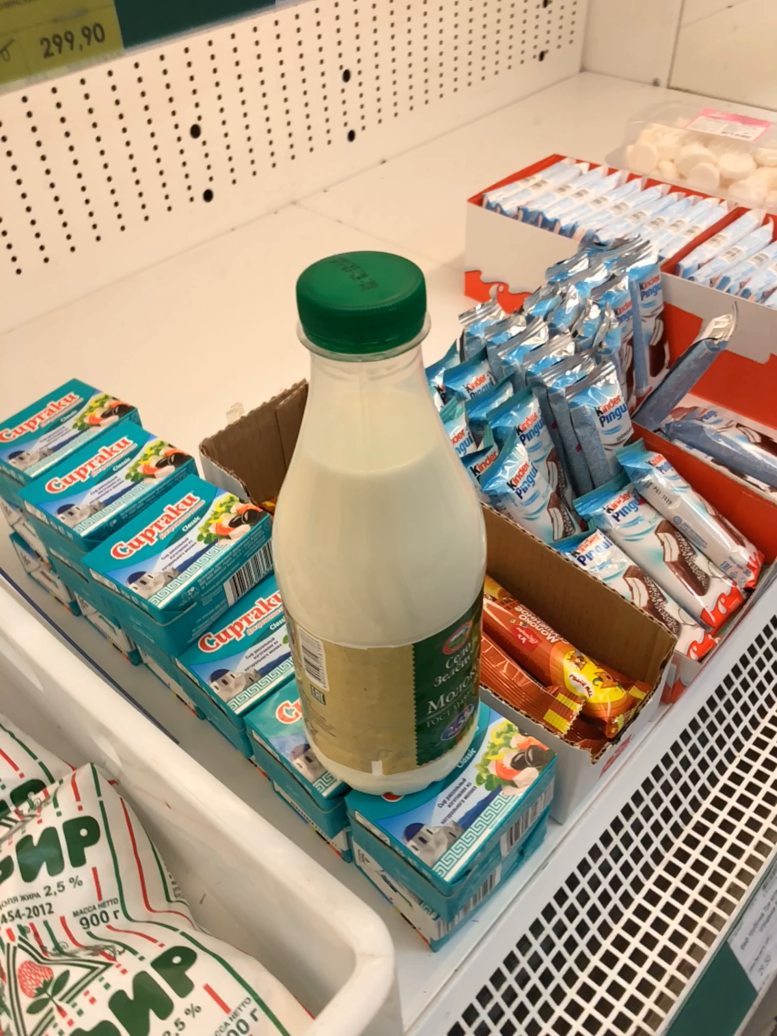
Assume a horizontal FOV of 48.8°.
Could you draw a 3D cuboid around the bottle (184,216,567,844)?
[{"bbox_3d":[-0.001,0.019,0.344,0.081,0.238,0.085,-1,44,1],"label":"bottle"}]
